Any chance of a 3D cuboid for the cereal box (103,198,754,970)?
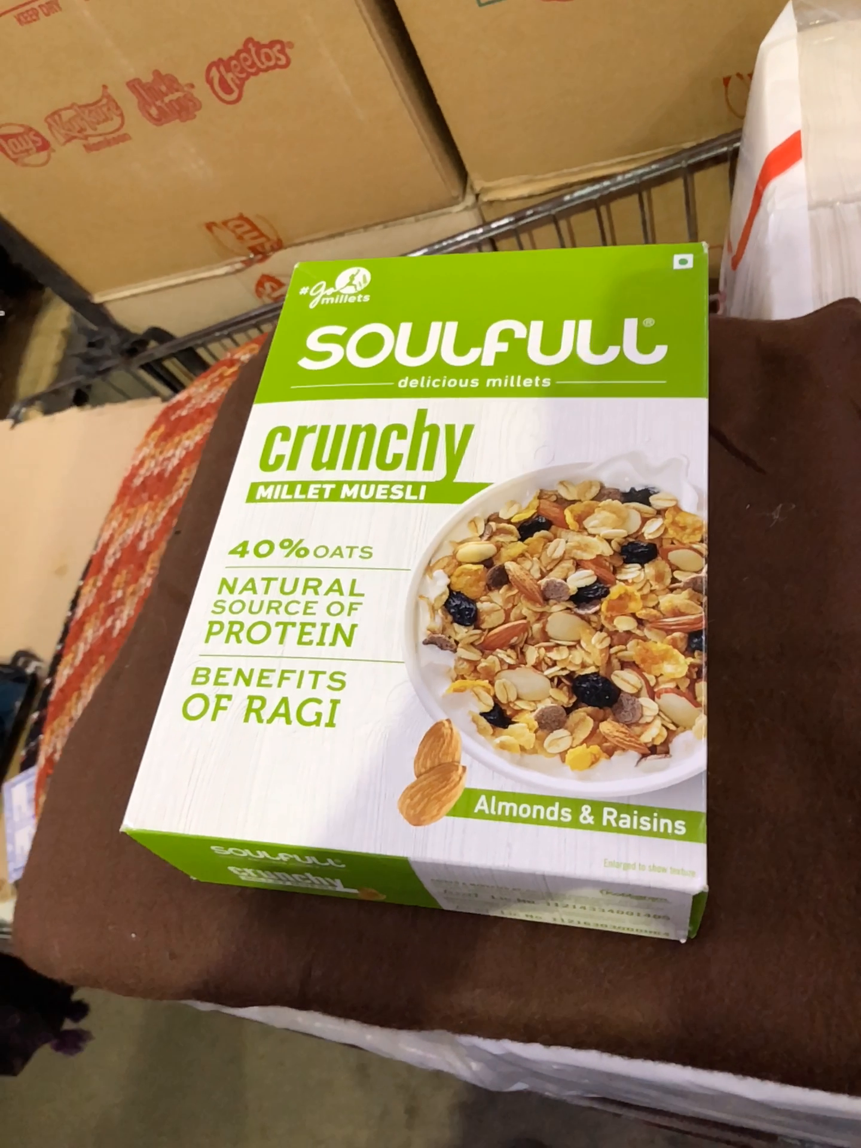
[{"bbox_3d":[0.018,-0.014,0.313,0.160,0.060,0.241,1,57,16],"label":"cereal box"}]
